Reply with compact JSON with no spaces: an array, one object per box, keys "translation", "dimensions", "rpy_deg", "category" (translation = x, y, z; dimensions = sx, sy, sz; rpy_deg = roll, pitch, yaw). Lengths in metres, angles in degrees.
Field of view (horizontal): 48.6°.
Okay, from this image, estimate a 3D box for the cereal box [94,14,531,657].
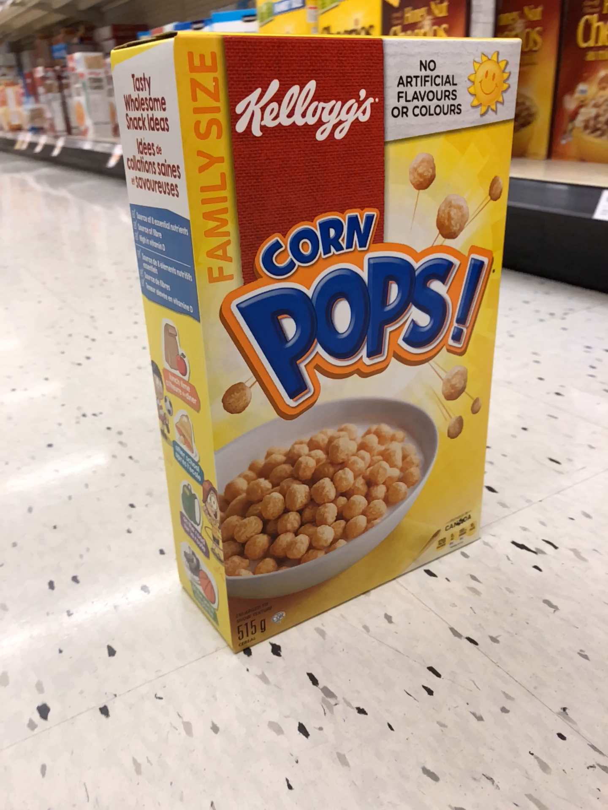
[{"translation":[0.012,-0.044,0.406],"dimensions":[0.200,0.318,0.100],"rpy_deg":[-16,27,-29],"category":"cereal box"}]
